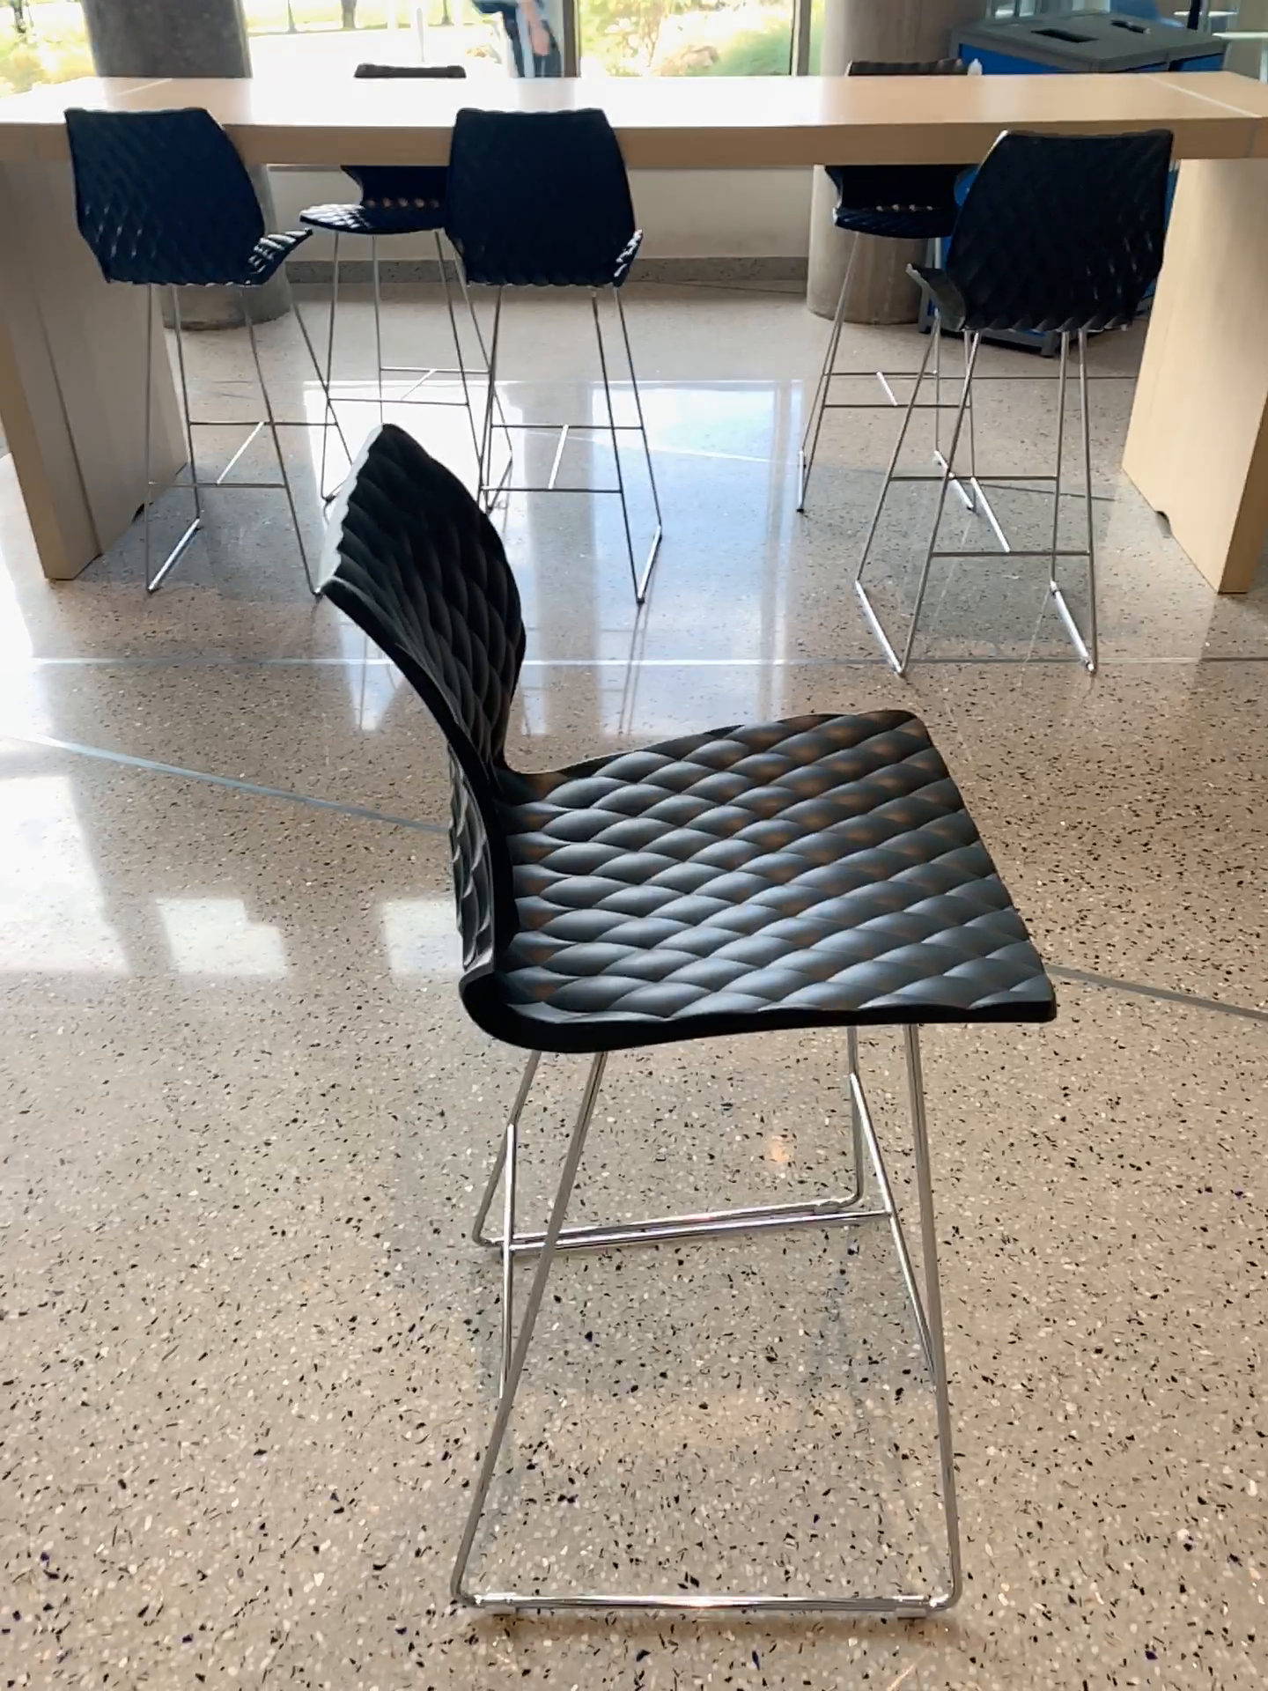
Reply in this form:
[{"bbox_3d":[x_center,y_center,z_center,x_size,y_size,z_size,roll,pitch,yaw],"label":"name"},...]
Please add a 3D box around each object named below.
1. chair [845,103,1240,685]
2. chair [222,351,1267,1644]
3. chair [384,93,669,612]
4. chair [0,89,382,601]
[{"bbox_3d":[0.784,-0.940,2.743,0.531,1.047,0.551,1,34,2],"label":"chair"},{"bbox_3d":[0.061,0.171,1.173,0.546,1.047,0.536,-2,34,-1],"label":"chair"},{"bbox_3d":[-0.205,-1.170,3.102,0.531,1.047,0.551,3,35,5],"label":"chair"},{"bbox_3d":[-1.004,-1.205,3.144,0.531,1.047,0.551,3,35,5],"label":"chair"}]
